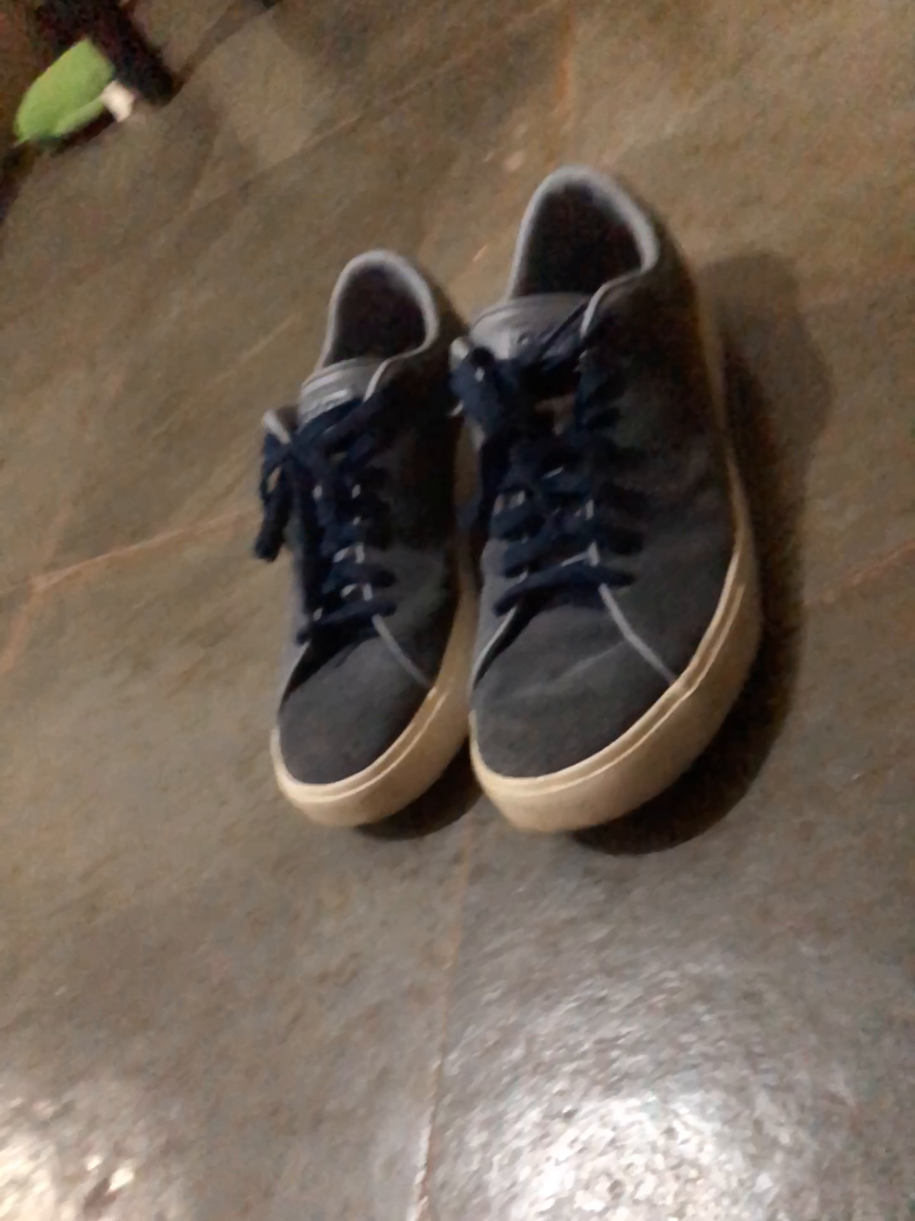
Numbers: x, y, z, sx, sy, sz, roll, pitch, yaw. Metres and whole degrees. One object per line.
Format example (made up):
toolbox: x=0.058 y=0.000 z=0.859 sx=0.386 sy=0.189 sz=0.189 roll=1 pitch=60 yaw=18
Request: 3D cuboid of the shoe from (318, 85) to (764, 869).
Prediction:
shoe: x=0.046 y=-0.055 z=0.378 sx=0.110 sy=0.080 sz=0.281 roll=-12 pitch=53 yaw=33

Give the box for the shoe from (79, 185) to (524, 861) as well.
shoe: x=-0.051 y=-0.042 z=0.429 sx=0.110 sy=0.080 sz=0.271 roll=-14 pitch=52 yaw=31
